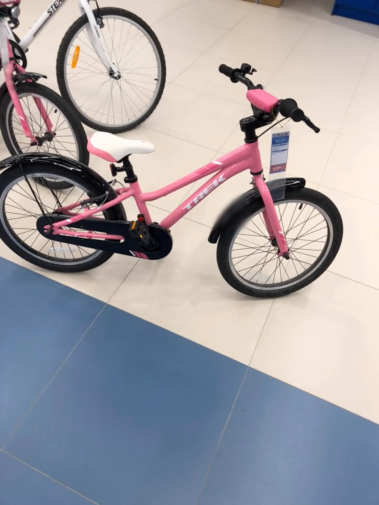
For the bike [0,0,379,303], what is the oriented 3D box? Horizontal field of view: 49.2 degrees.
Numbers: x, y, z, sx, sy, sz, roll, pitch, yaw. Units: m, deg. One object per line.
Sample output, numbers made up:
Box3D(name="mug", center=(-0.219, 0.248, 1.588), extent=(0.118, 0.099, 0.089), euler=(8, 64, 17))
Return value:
Box3D(name="bike", center=(-0.038, -0.305, 1.428), extent=(1.296, 0.835, 0.558), euler=(1, 46, 1))
